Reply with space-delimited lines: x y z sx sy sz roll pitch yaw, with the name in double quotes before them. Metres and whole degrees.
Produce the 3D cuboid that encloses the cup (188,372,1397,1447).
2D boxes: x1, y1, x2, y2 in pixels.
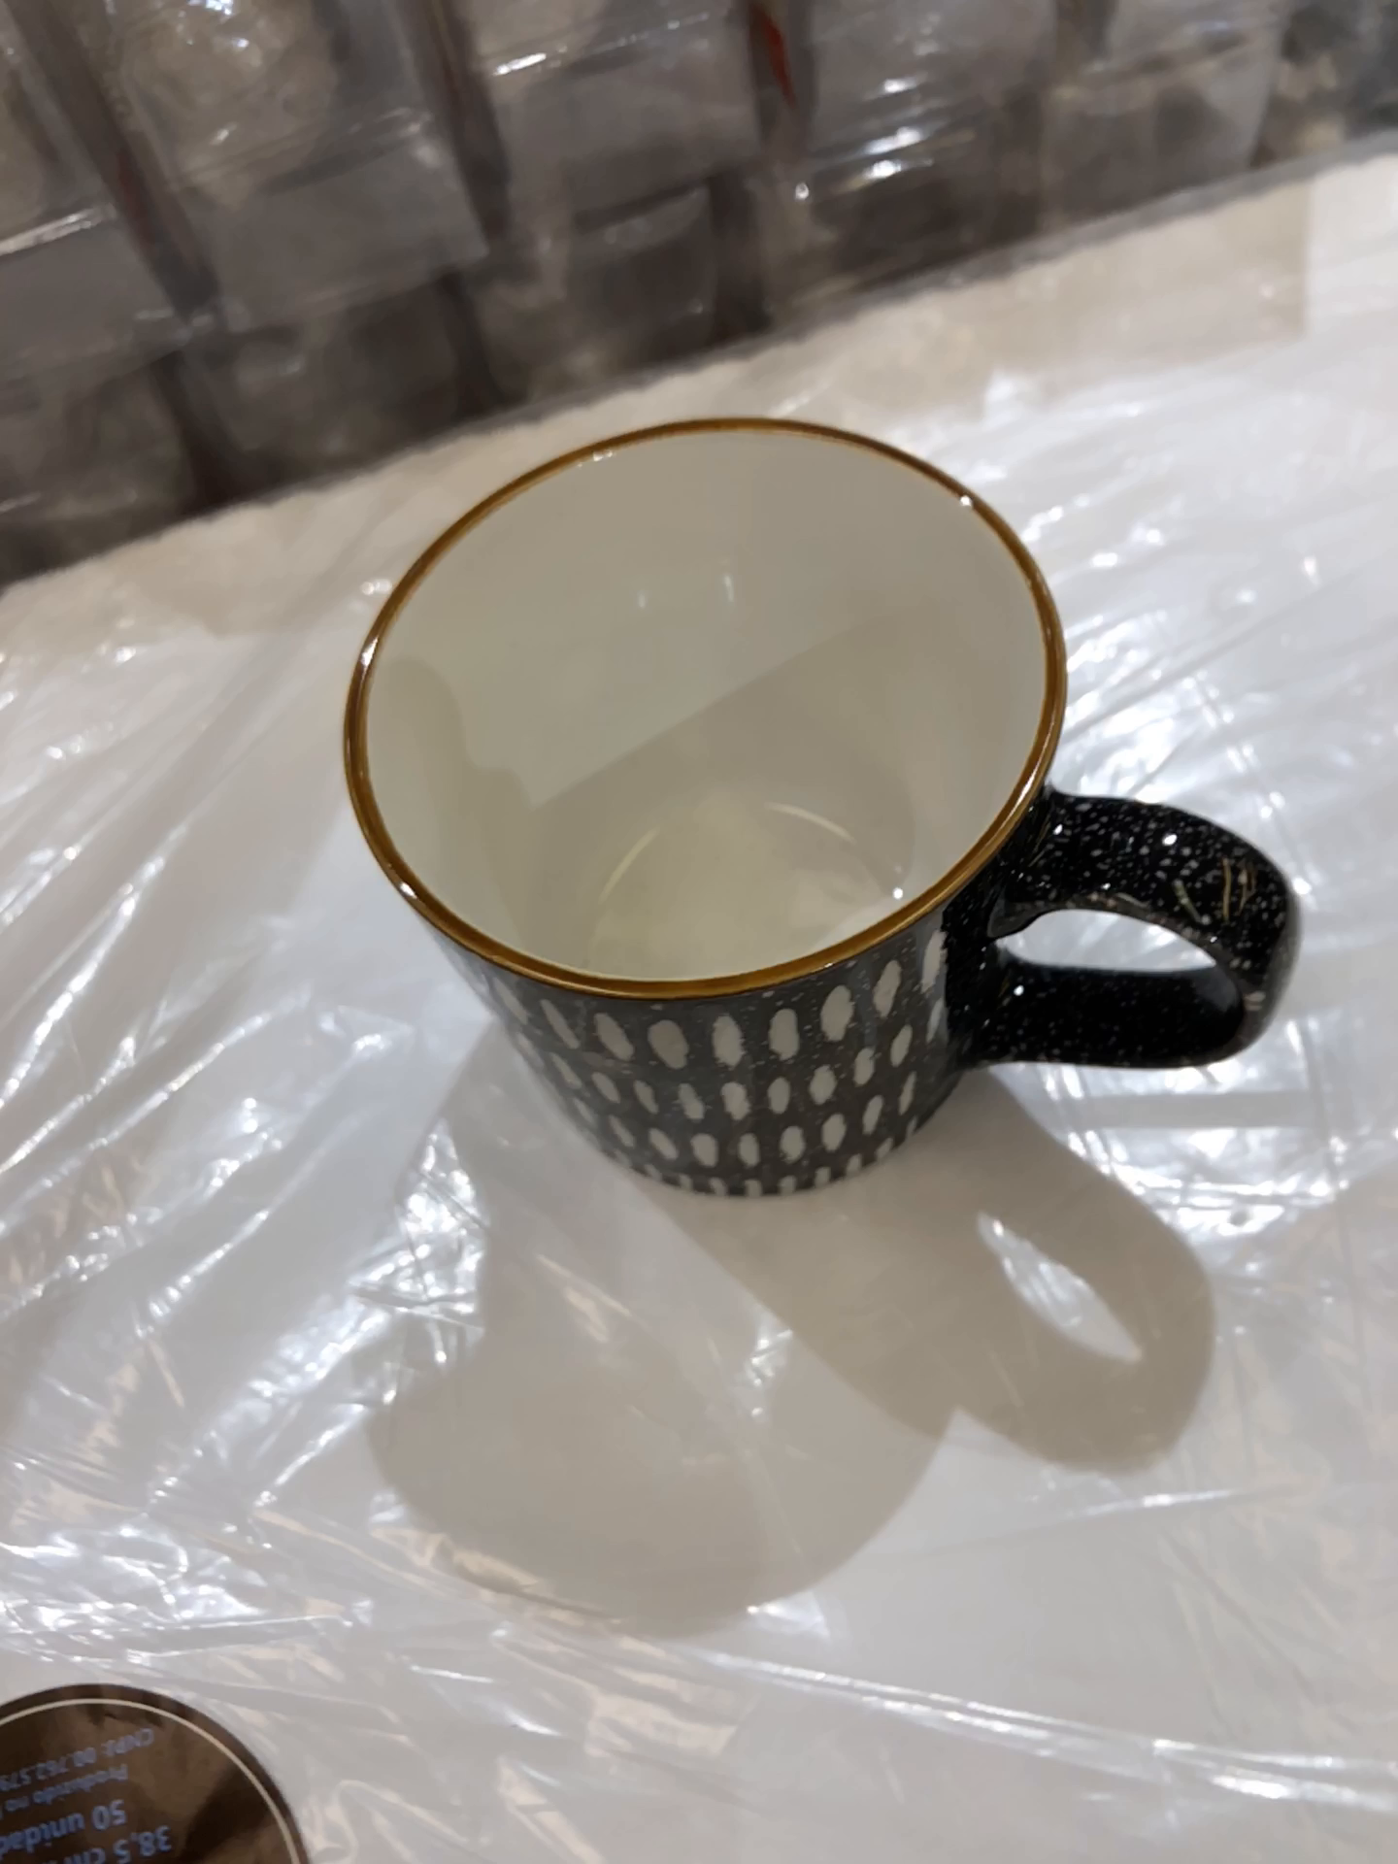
"cup" 0.017 -0.003 0.201 0.110 0.080 0.080 17 63 17
